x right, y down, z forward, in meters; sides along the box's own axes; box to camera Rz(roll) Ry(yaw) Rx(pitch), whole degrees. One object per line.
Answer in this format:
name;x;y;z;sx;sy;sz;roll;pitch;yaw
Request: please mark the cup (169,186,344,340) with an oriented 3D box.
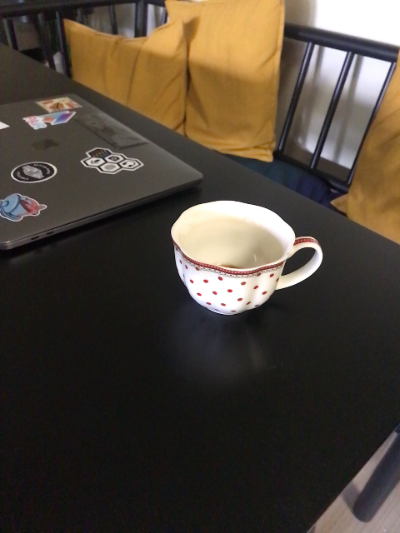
cup;0.044;-0.007;0.355;0.120;0.069;0.091;8;38;6
